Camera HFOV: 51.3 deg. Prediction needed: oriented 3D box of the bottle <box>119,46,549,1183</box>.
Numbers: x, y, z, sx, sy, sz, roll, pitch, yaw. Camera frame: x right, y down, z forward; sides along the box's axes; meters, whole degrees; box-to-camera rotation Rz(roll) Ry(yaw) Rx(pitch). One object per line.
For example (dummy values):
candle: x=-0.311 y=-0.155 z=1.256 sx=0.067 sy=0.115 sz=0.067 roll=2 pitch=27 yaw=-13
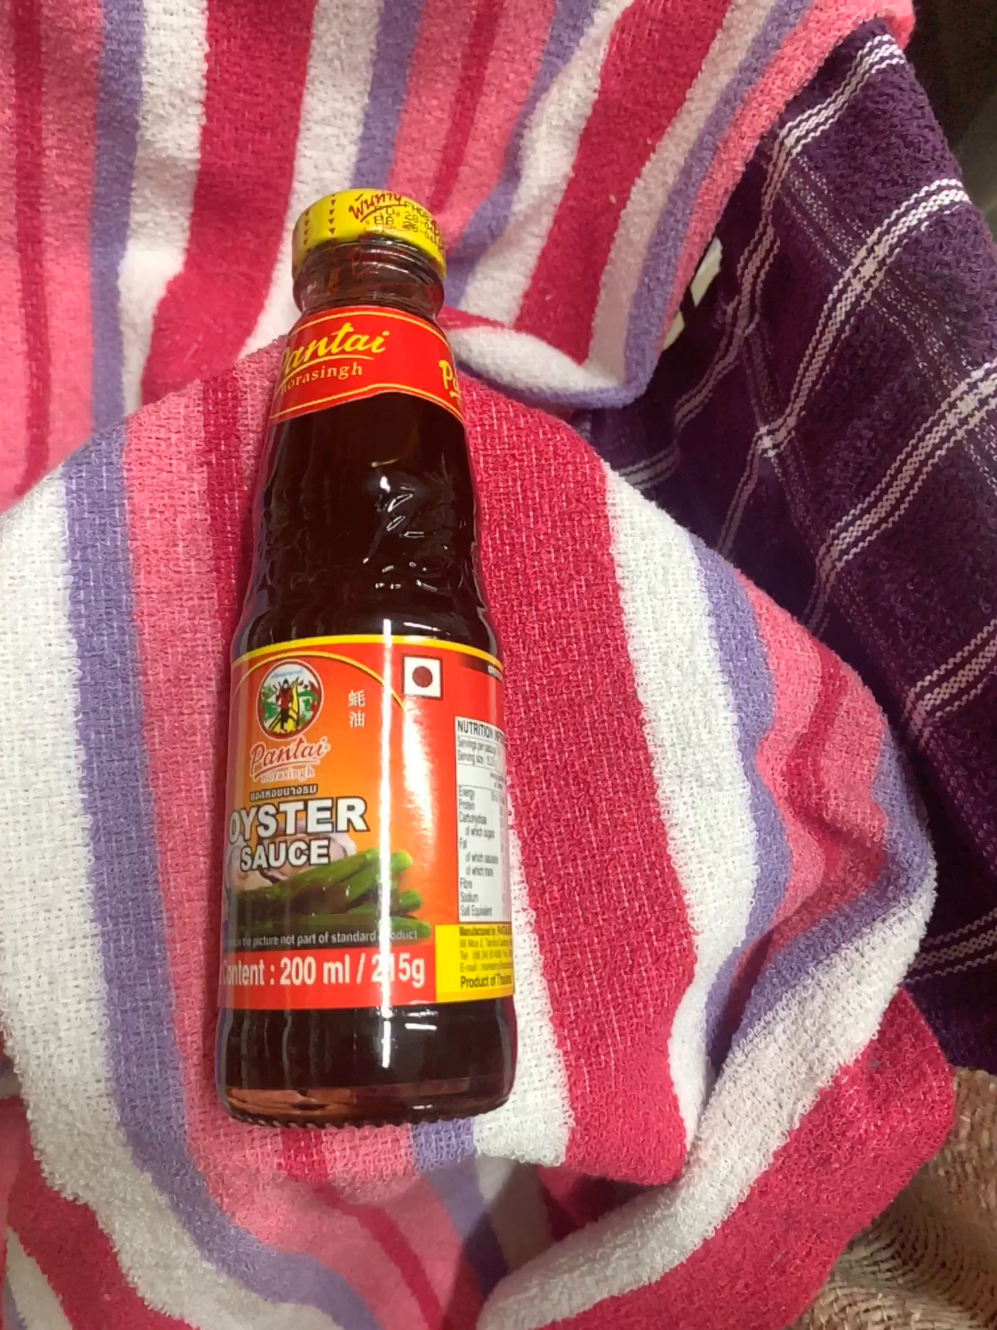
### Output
bottle: x=-0.027 y=-0.013 z=0.196 sx=0.050 sy=0.050 sz=0.190 roll=-9 pitch=72 yaw=24
